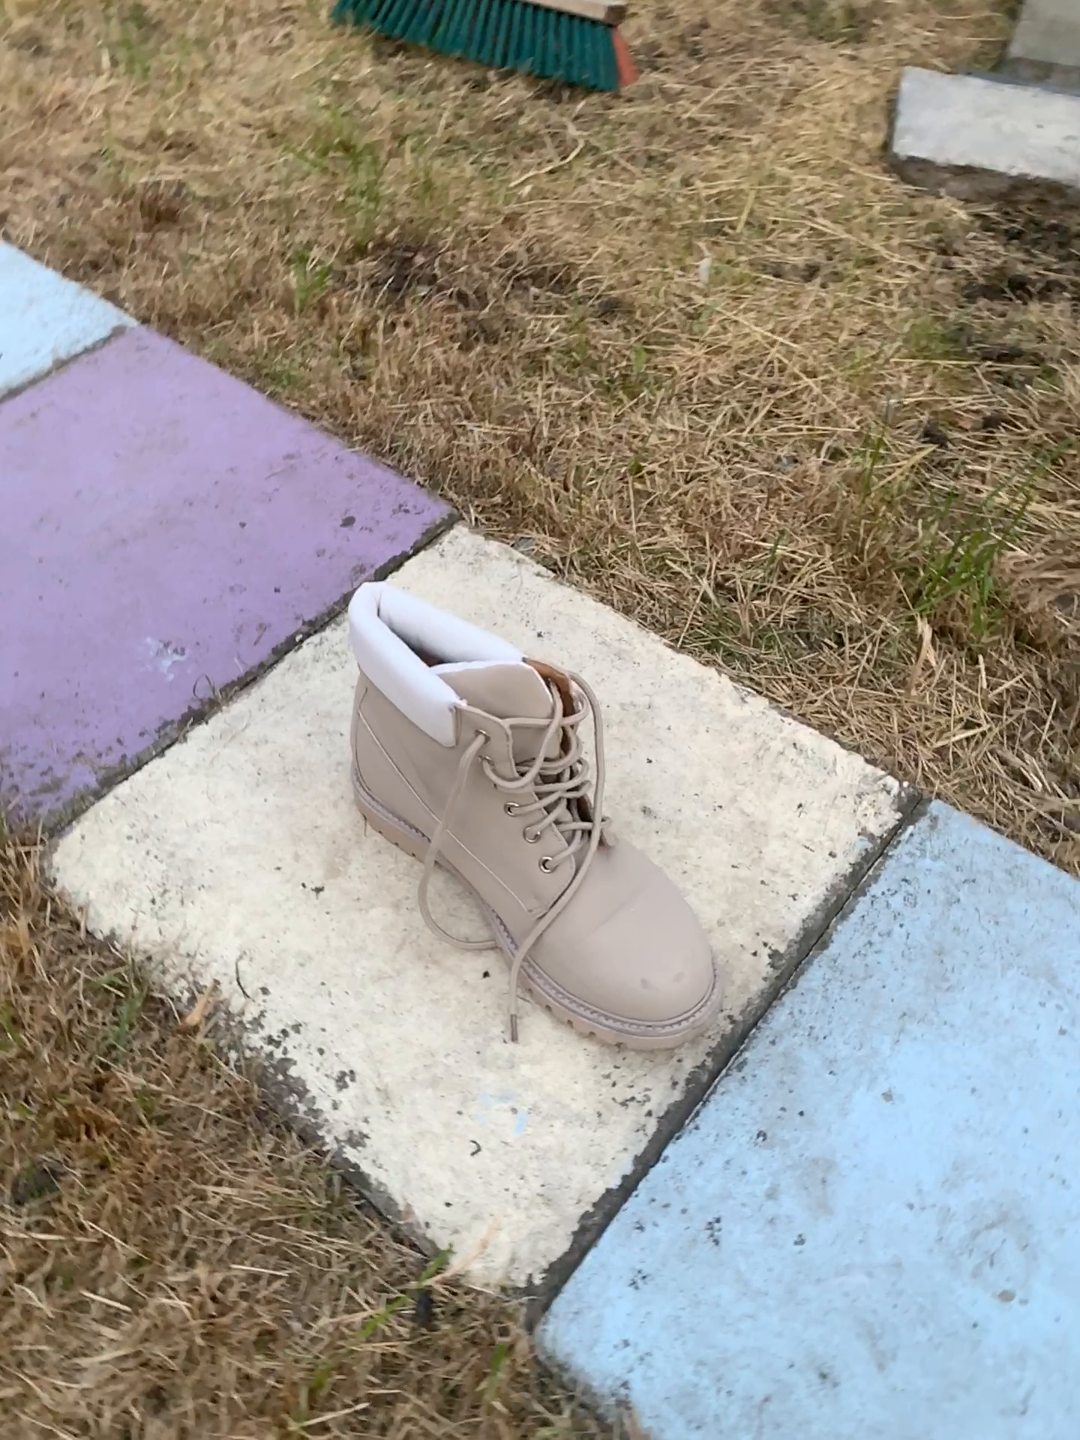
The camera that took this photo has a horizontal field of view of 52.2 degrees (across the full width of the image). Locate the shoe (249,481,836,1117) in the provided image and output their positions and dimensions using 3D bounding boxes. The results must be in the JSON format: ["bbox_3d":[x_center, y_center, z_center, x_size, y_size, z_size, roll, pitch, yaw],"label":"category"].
[{"bbox_3d":[-0.010,0.038,0.582,0.281,0.198,0.100,37,59,27],"label":"shoe"}]
